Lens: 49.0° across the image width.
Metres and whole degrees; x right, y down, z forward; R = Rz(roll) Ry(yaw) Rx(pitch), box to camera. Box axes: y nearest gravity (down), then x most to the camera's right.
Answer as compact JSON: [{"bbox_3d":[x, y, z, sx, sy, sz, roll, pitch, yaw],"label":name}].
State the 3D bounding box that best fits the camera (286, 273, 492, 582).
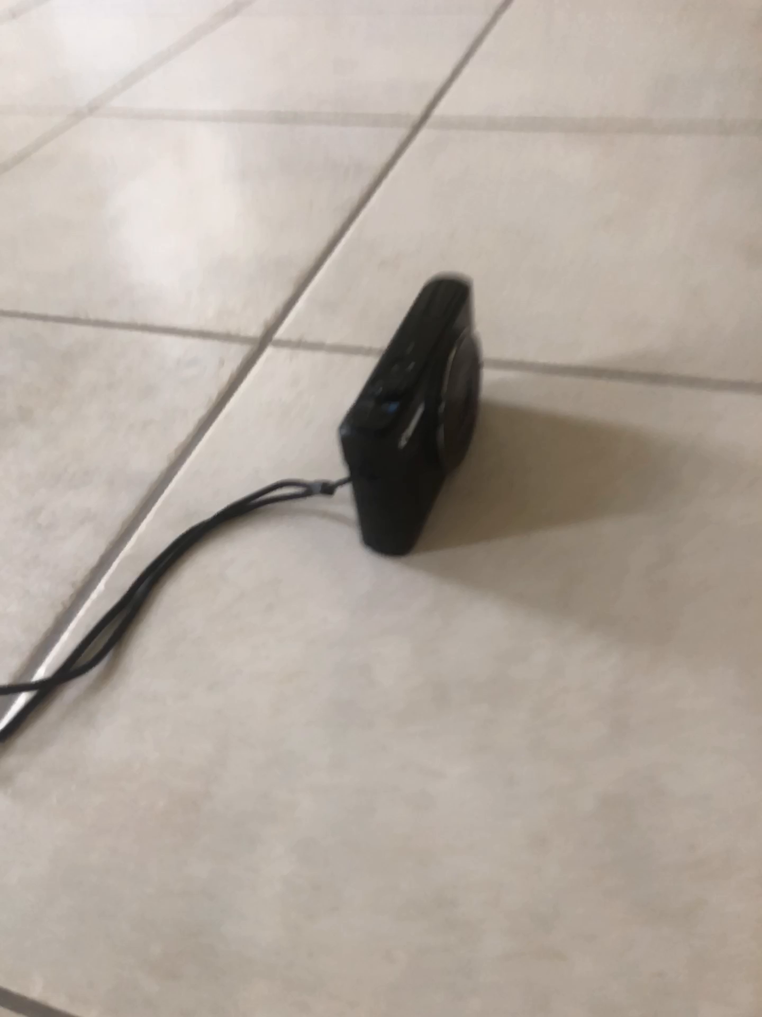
[{"bbox_3d":[0.009,-0.036,0.326,0.040,0.060,0.111,10,46,18],"label":"camera"}]
